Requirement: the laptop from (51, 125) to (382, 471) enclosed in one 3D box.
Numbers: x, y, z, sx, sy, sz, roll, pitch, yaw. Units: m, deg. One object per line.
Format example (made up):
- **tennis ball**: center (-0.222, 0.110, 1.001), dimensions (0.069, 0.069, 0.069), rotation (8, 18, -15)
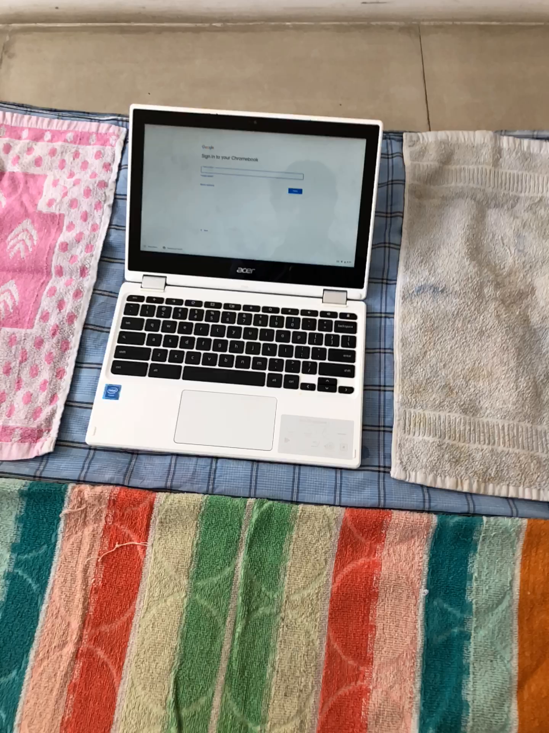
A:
- **laptop**: center (-0.039, -0.086, 0.663), dimensions (0.285, 0.101, 0.368), rotation (5, 65, 2)
